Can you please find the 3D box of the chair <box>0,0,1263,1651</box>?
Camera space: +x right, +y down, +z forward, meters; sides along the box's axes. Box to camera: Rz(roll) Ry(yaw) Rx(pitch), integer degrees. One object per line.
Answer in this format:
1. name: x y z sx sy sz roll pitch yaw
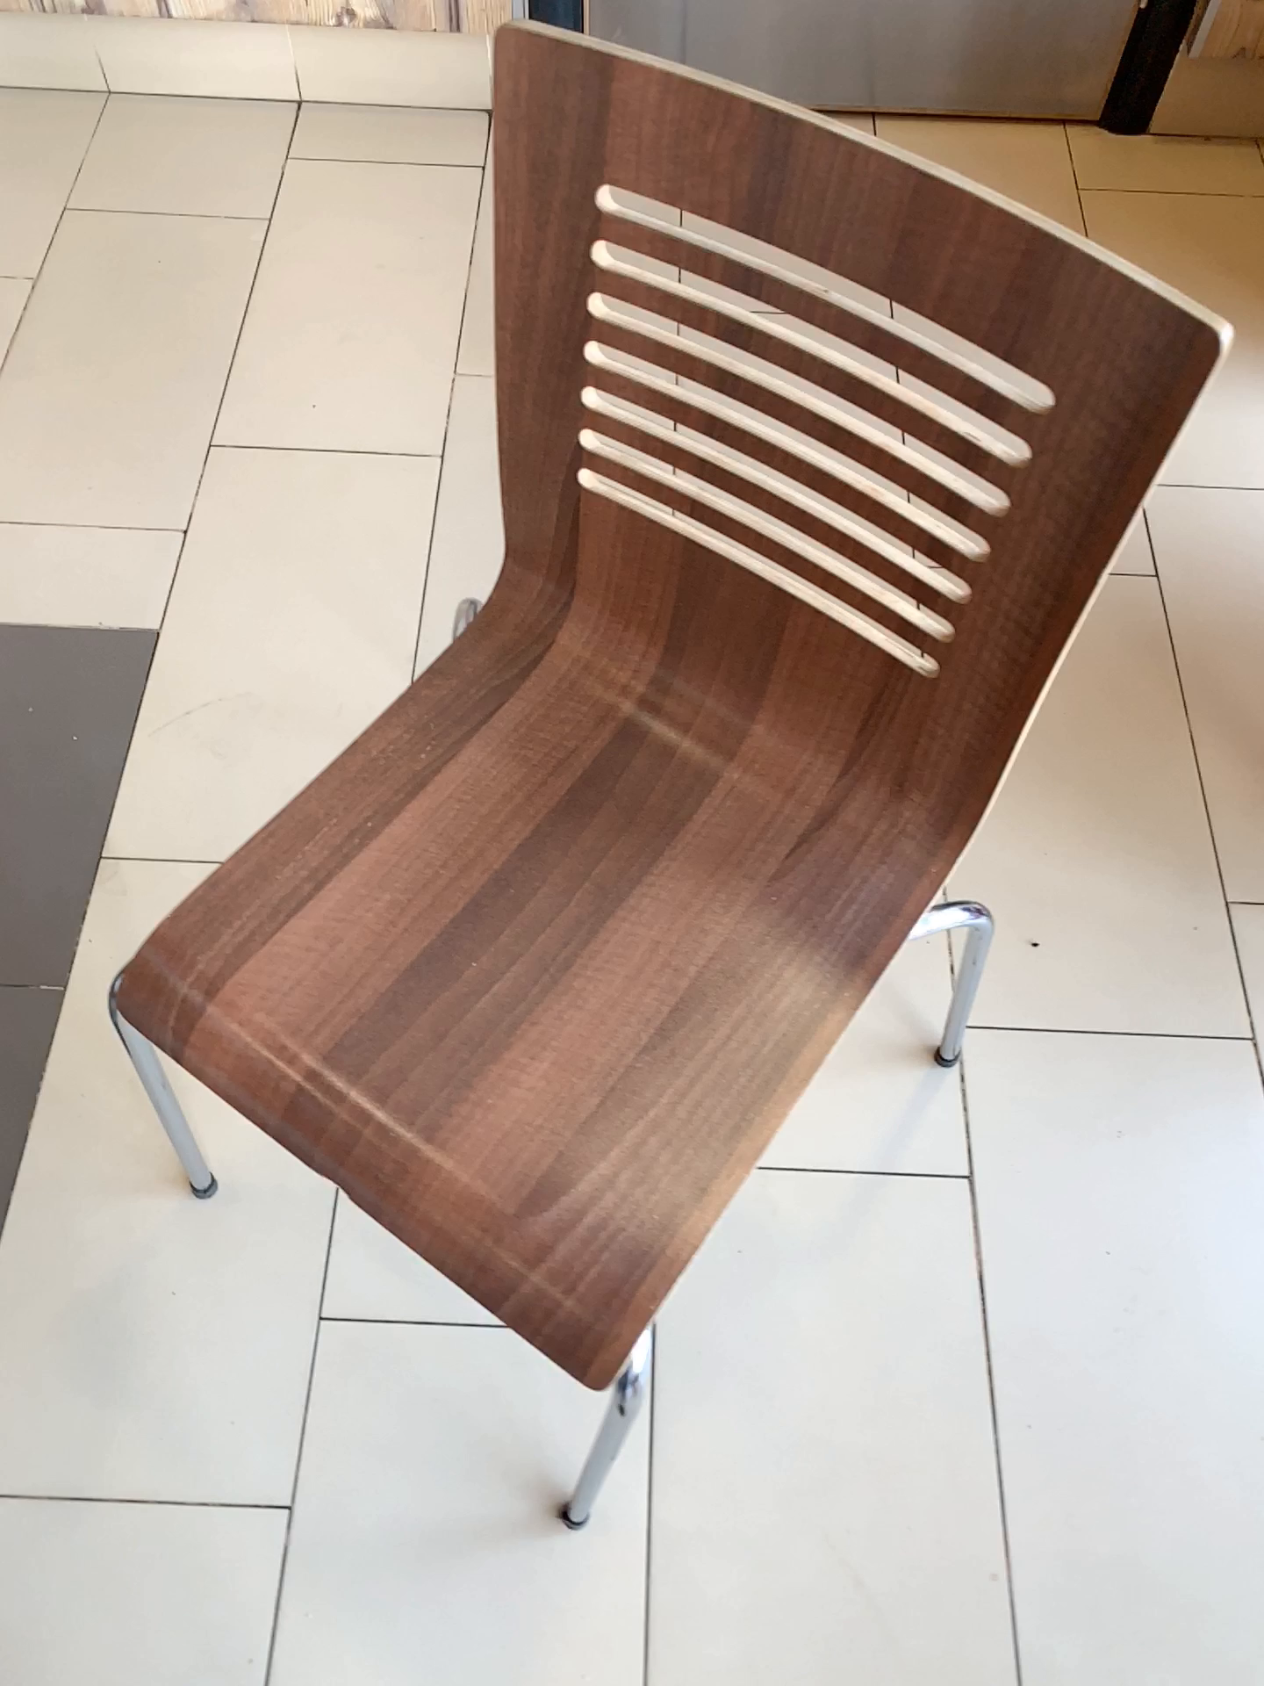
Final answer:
1. chair: -0.039 0.039 0.860 0.545 0.796 0.592 34 66 16
